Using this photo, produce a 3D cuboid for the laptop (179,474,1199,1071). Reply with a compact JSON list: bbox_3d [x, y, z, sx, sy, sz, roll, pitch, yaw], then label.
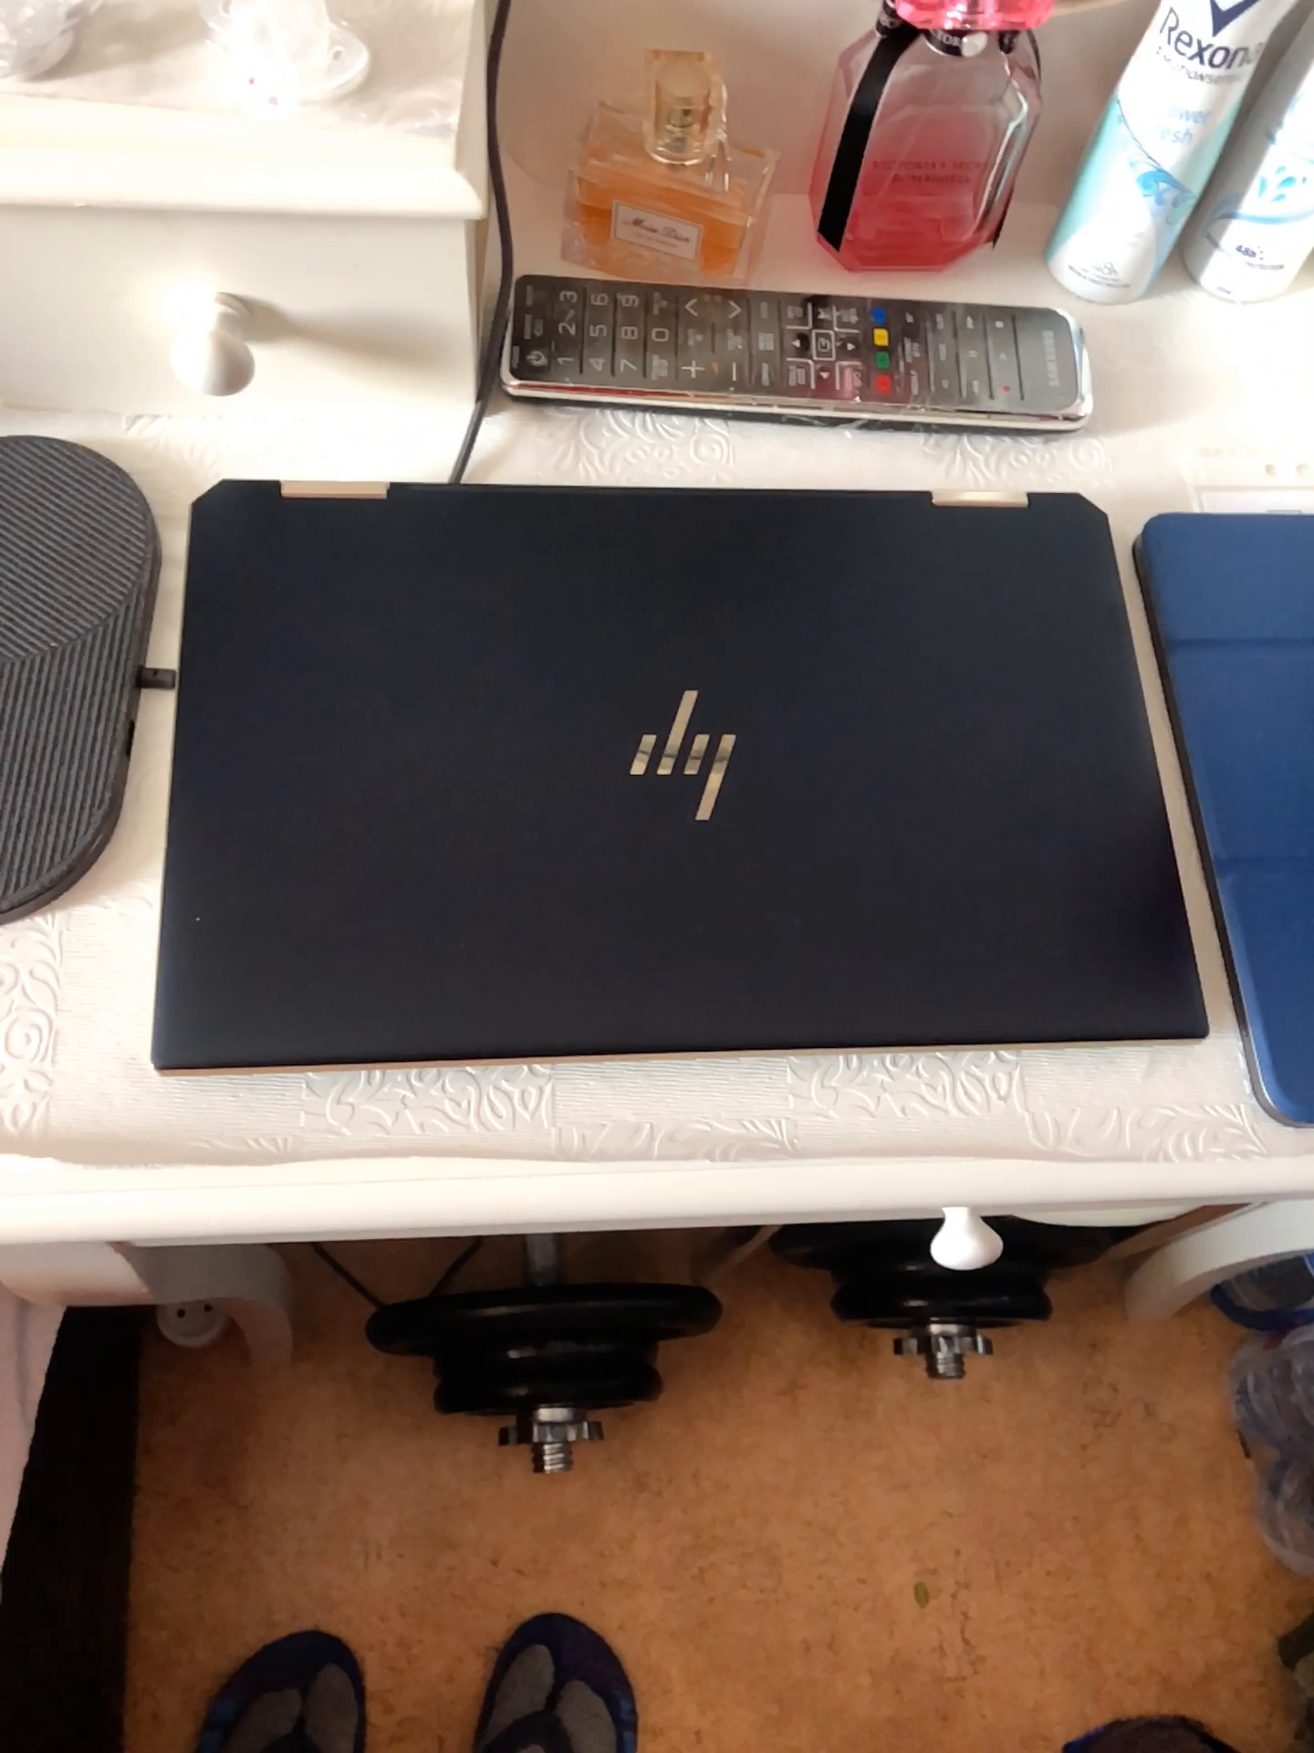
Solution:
[{"bbox_3d":[0.013,-0.032,0.397,0.267,0.007,0.161,0,71,-12],"label":"laptop"}]
